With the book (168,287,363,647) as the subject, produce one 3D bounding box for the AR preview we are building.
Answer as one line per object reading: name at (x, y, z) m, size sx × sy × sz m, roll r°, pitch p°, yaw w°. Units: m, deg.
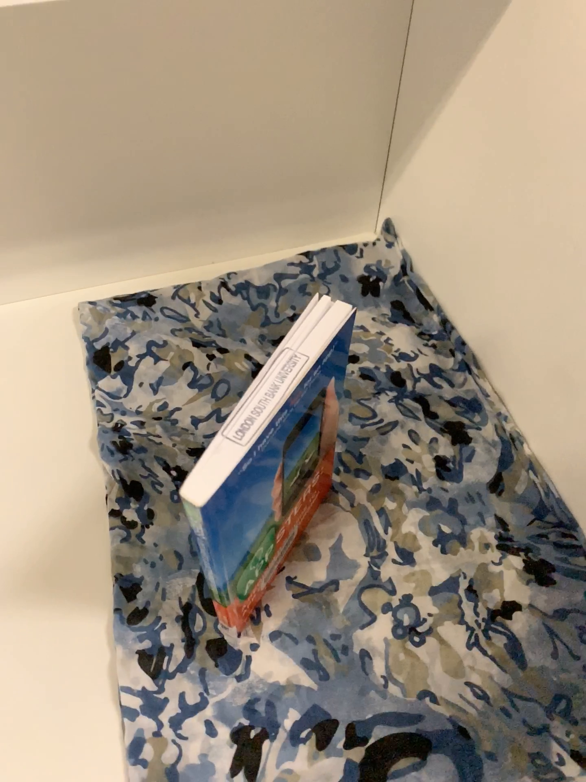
book at (-0.008, 0.058, 0.365) m, size 0.024 × 0.203 × 0.141 m, roll 24°, pitch 57°, yaw 17°
